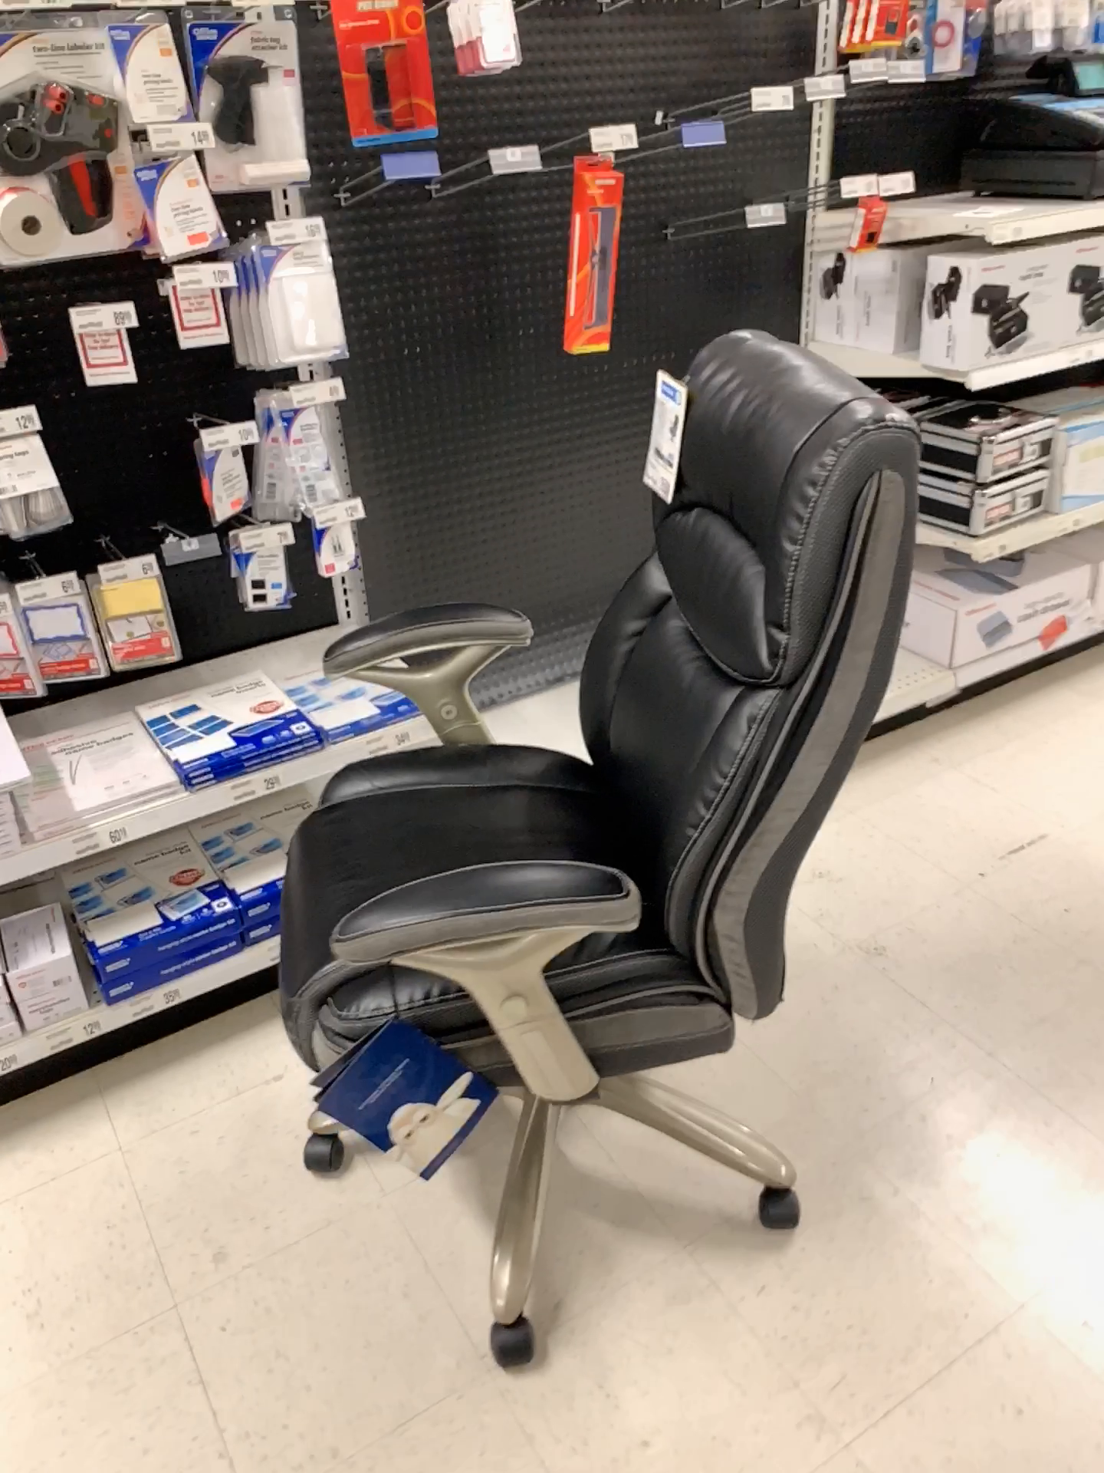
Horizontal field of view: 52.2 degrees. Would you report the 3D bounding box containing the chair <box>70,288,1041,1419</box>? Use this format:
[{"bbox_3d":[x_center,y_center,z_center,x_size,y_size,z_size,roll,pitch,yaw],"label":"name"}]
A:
[{"bbox_3d":[-0.025,0.099,1.428,0.740,1.094,0.744,-8,31,-9],"label":"chair"}]
